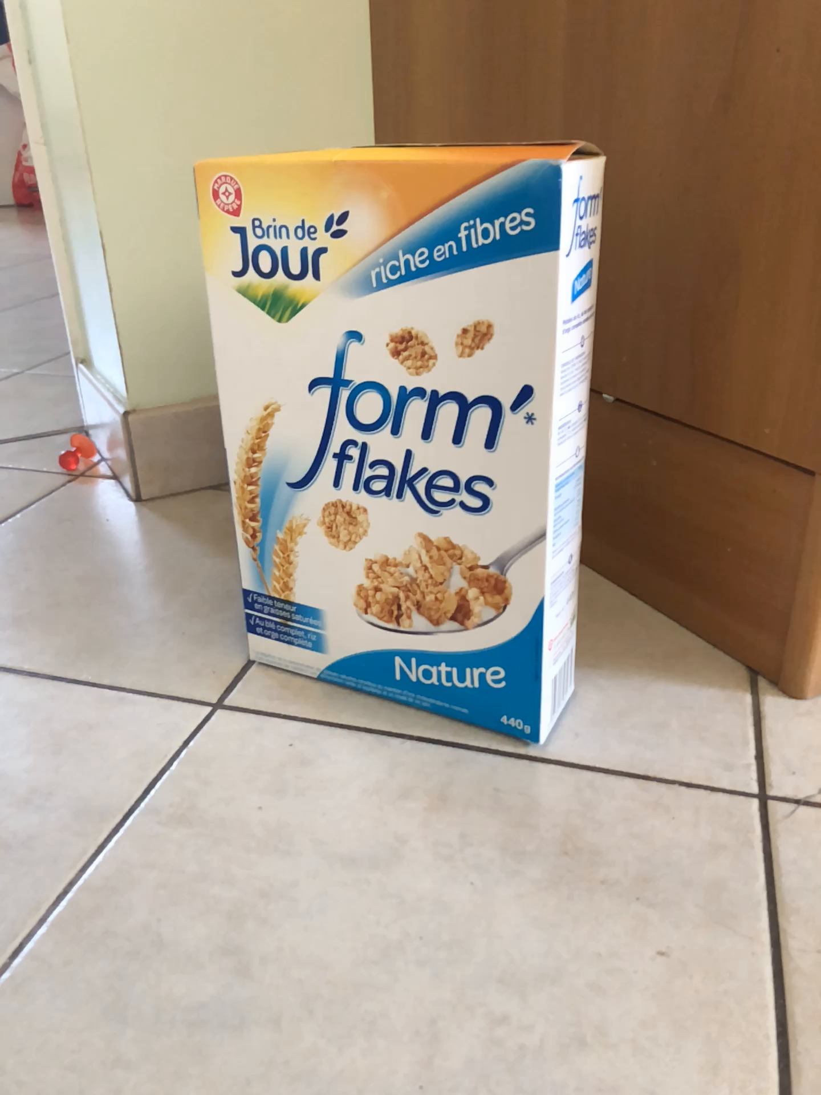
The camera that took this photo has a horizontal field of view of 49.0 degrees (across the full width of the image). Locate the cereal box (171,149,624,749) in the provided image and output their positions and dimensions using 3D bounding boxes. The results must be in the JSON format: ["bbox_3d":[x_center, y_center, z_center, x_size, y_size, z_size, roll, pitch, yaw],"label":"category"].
[{"bbox_3d":[-0.009,-0.056,0.473,0.200,0.279,0.070,11,26,25],"label":"cereal box"}]
